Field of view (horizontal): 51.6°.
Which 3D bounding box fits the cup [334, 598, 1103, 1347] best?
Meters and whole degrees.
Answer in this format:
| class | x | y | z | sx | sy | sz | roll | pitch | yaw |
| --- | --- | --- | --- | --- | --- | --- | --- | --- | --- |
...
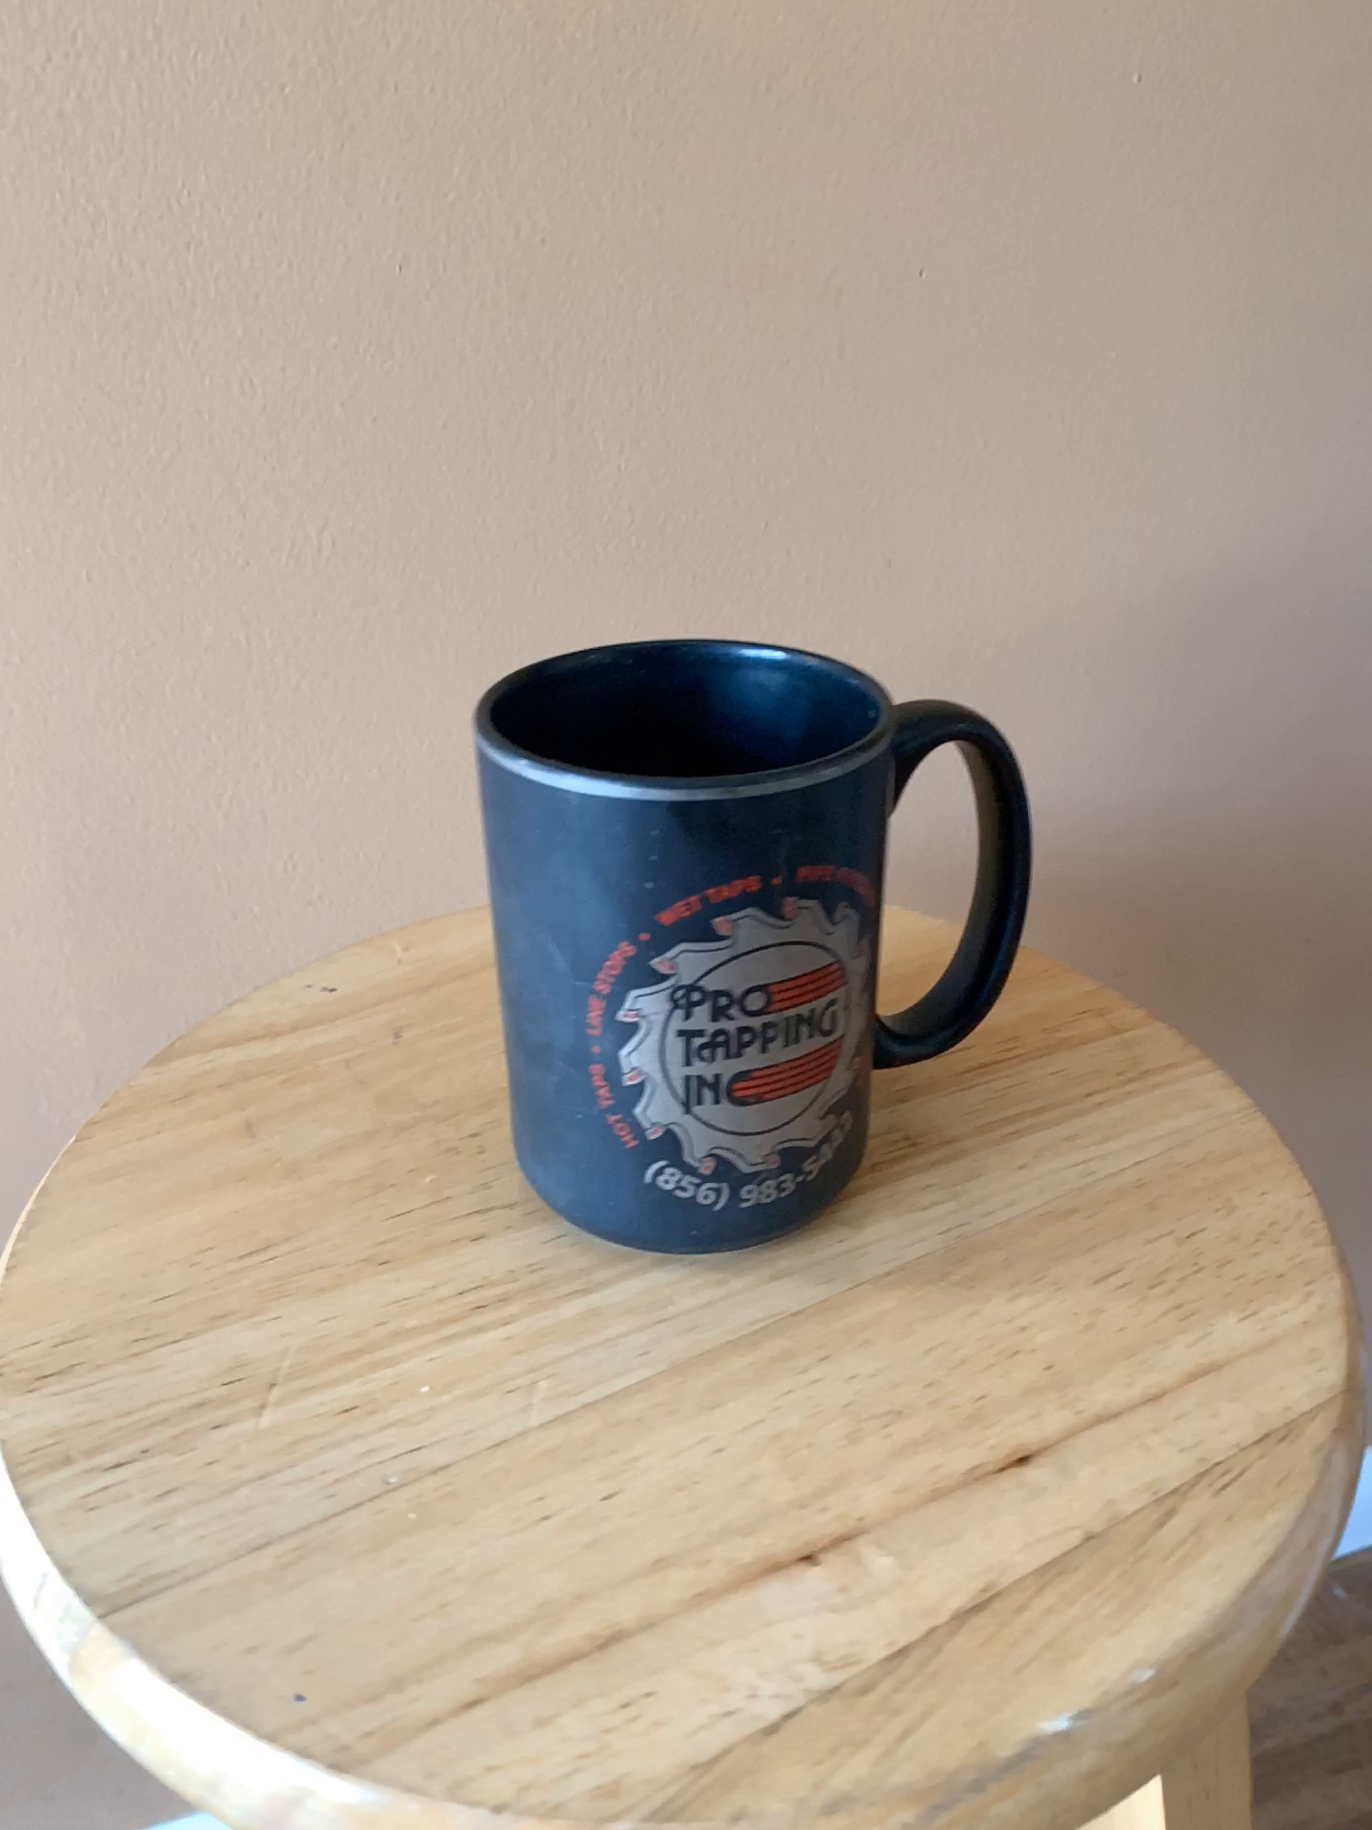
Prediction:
| class | x | y | z | sx | sy | sz | roll | pitch | yaw |
| --- | --- | --- | --- | --- | --- | --- | --- | --- | --- |
| cup | 0.003 | 0.003 | 0.348 | 0.140 | 0.119 | 0.111 | -12 | 29 | -22 |
